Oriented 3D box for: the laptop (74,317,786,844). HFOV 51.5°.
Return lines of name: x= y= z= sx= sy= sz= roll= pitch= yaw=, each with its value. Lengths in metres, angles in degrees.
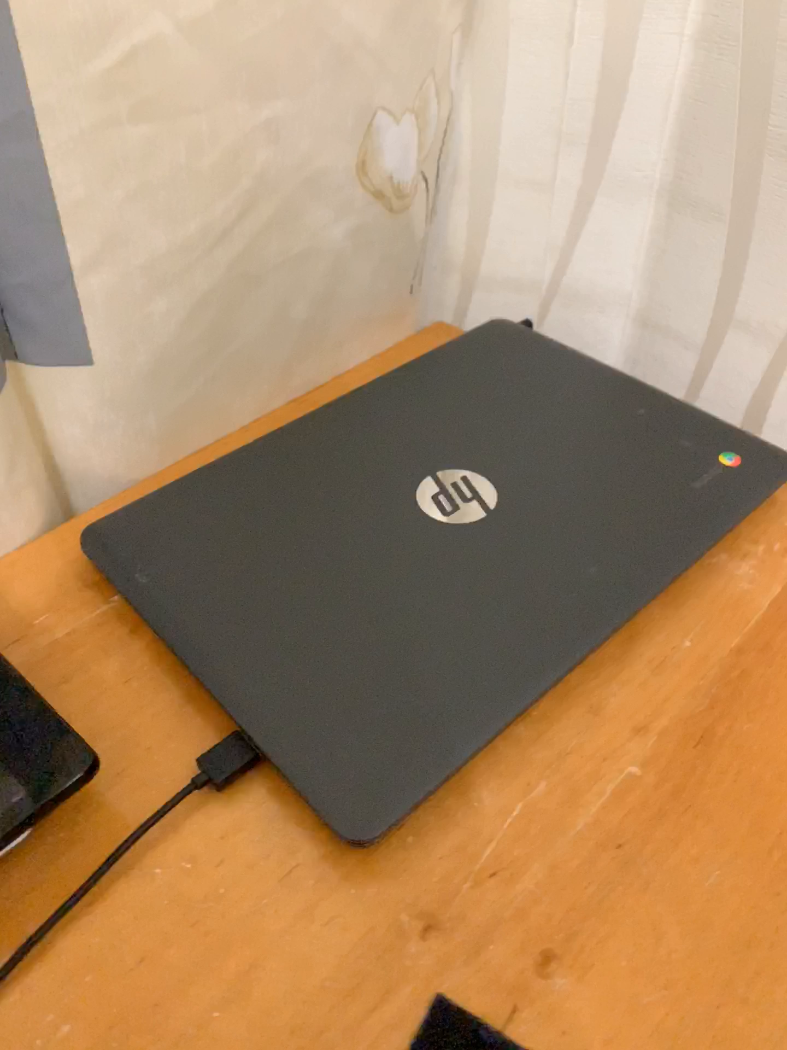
laptop: x=0.026 y=-0.013 z=0.381 sx=0.282 sy=0.002 sz=0.194 roll=-33 pitch=51 yaw=-28
